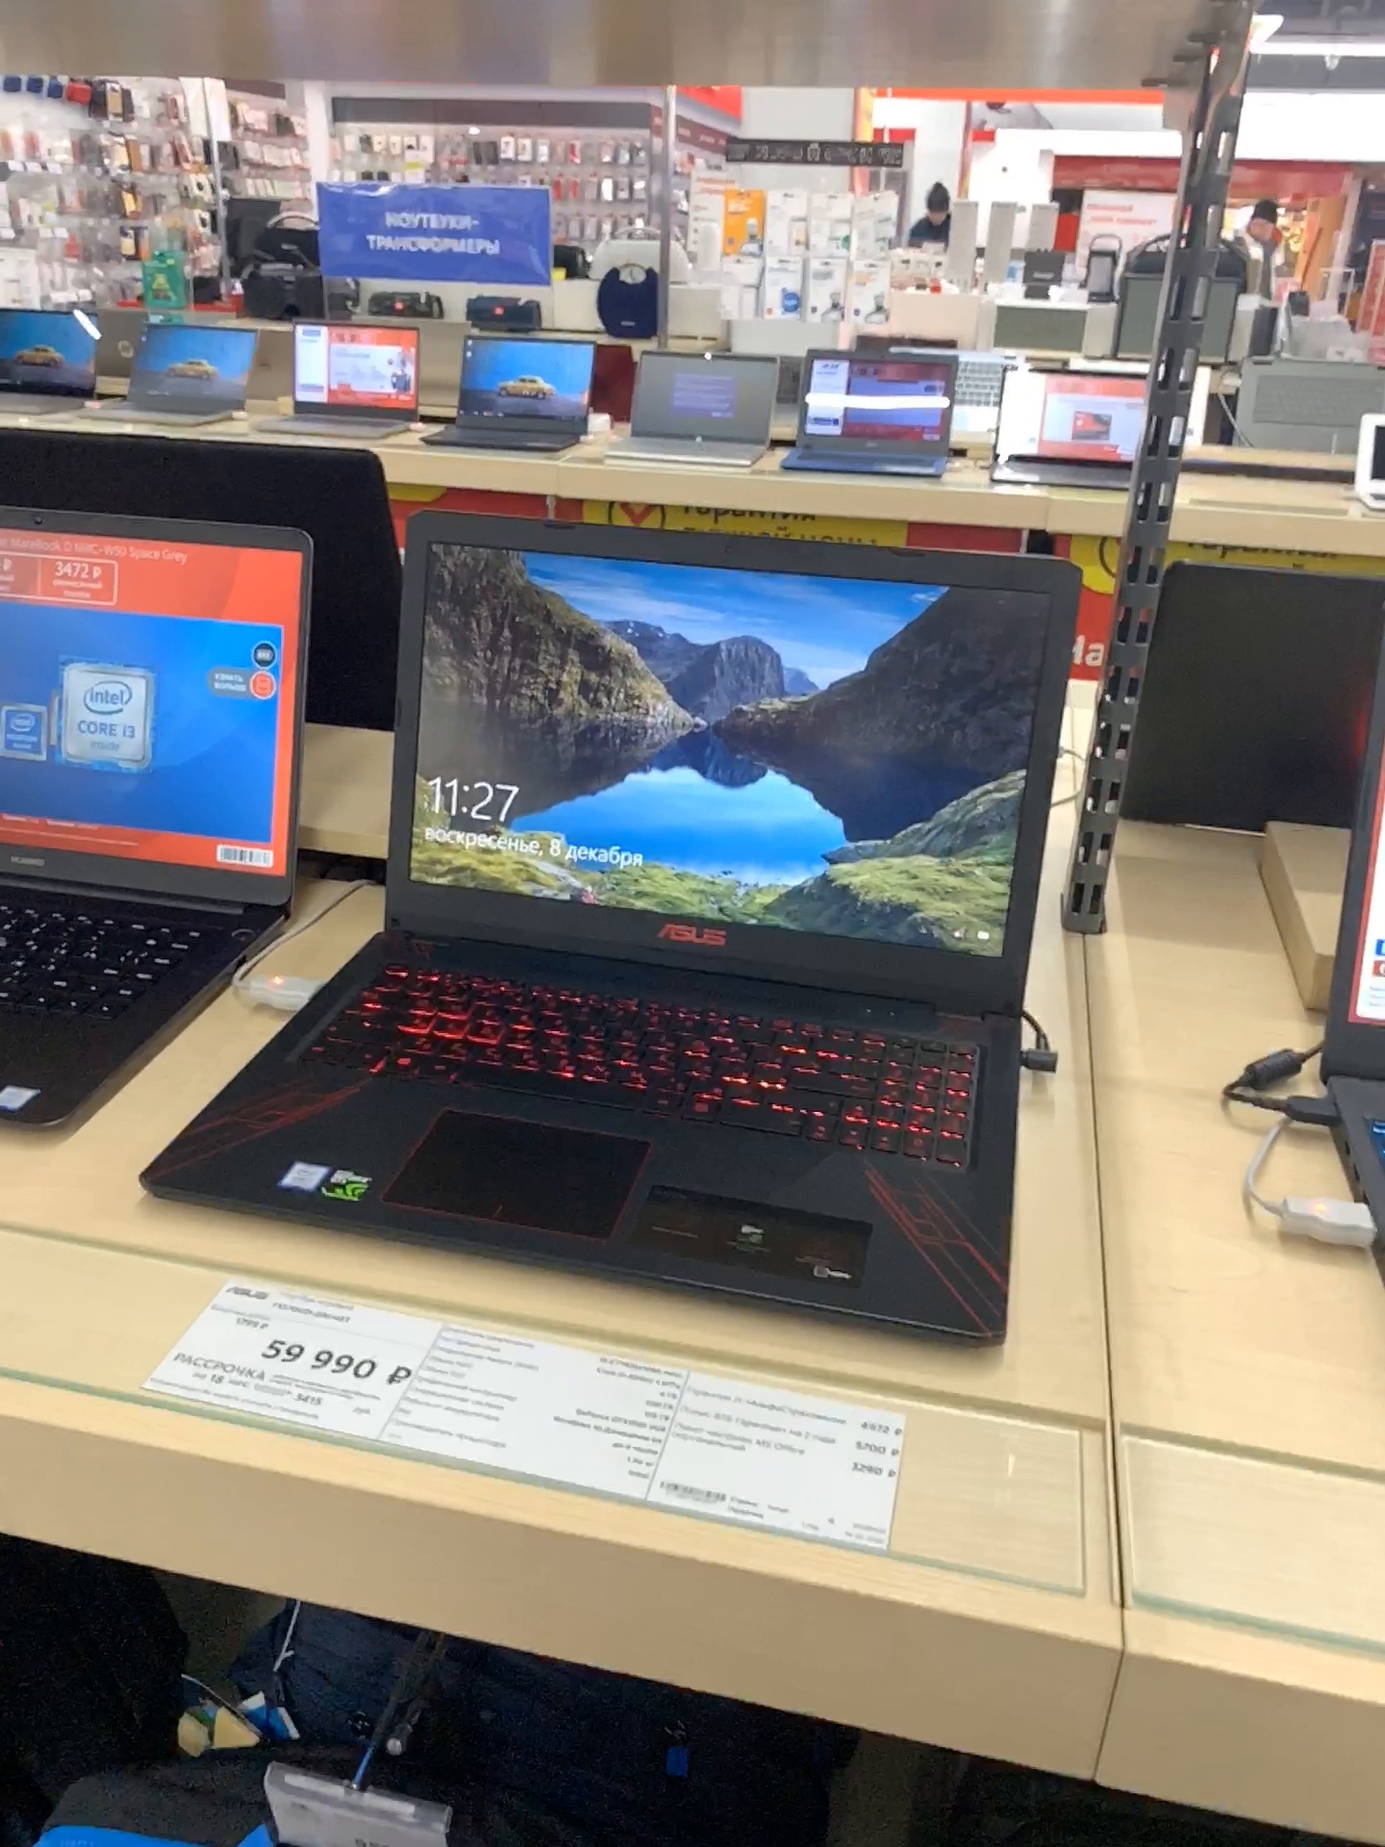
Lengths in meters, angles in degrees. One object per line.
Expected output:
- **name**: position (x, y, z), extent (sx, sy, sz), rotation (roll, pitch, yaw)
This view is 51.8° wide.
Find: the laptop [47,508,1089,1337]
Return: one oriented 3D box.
- **laptop**: position (-0.023, -0.038, 0.667), extent (0.366, 0.229, 0.318), rotation (7, 26, 11)
